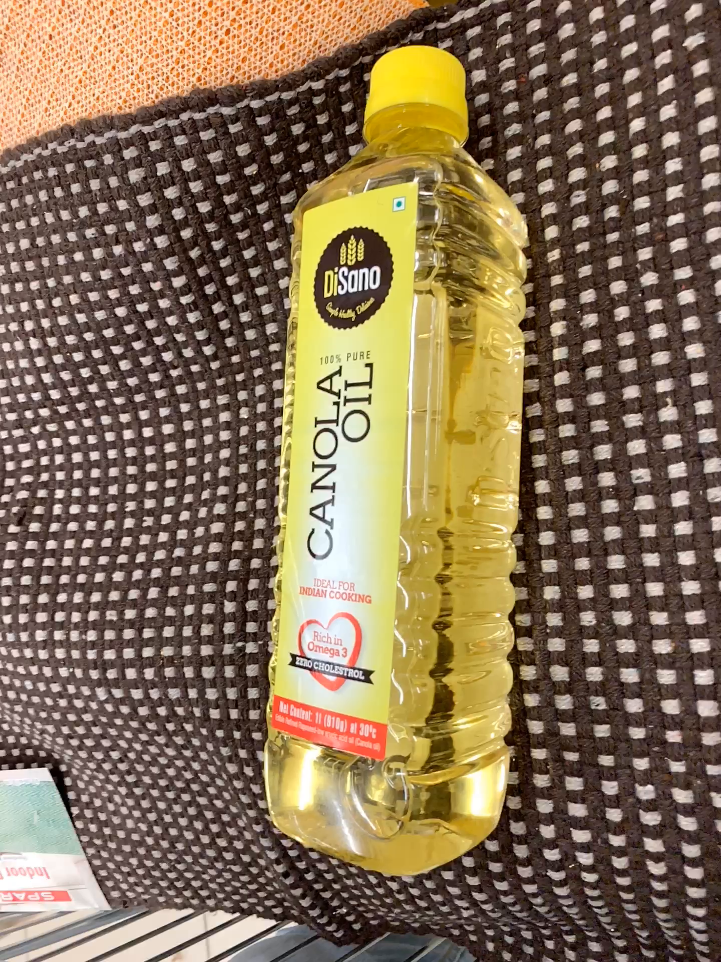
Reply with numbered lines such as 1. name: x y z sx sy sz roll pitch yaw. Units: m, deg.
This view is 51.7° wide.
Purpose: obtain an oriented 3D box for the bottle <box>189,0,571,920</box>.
1. bottle: 0.008 -0.027 0.214 0.070 0.060 0.250 1 86 39
